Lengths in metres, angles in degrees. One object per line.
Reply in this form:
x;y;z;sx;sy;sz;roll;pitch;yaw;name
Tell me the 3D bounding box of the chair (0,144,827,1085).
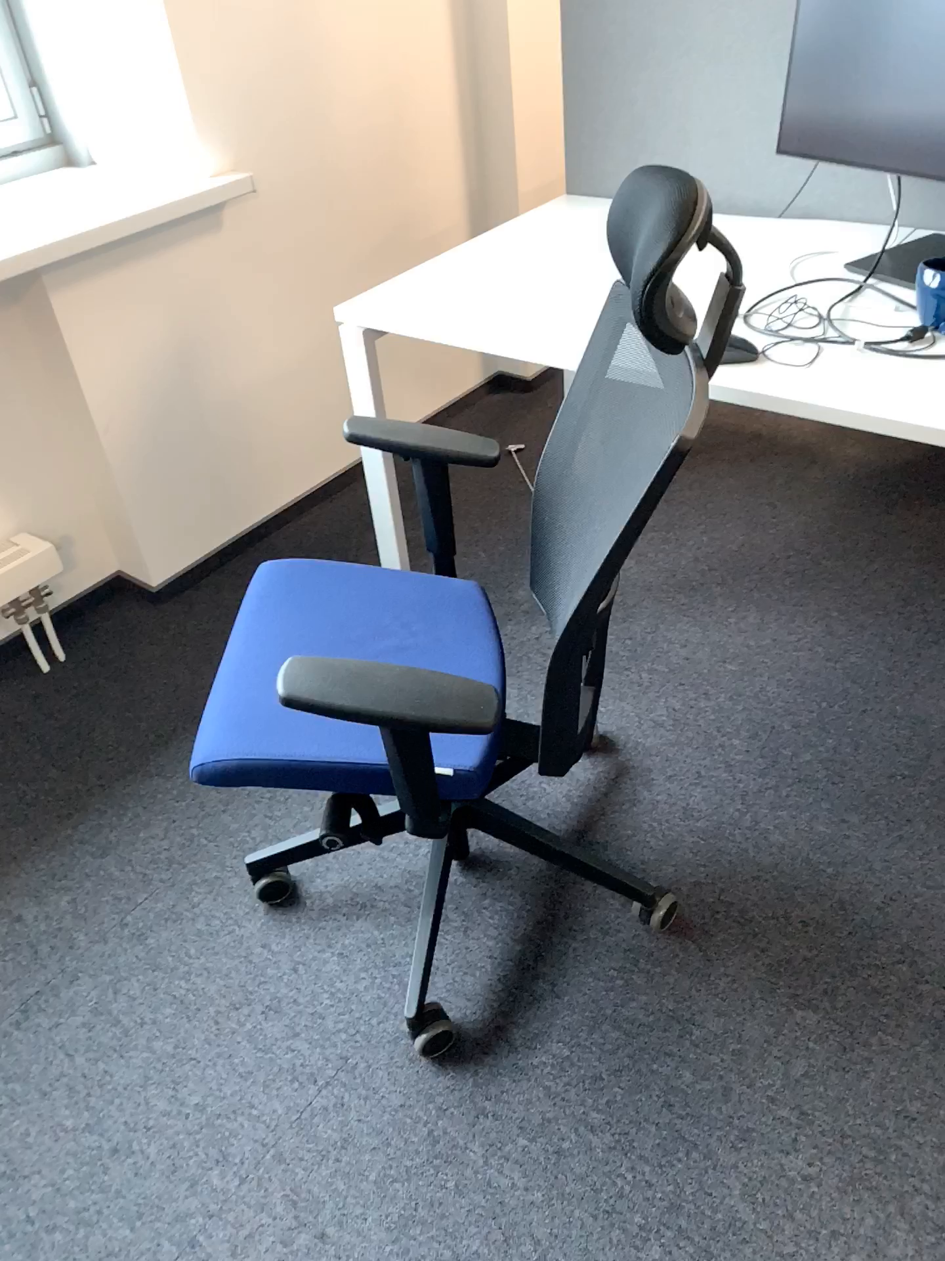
-0.032;-0.011;1.405;0.790;1.074;0.754;0;37;8;chair
